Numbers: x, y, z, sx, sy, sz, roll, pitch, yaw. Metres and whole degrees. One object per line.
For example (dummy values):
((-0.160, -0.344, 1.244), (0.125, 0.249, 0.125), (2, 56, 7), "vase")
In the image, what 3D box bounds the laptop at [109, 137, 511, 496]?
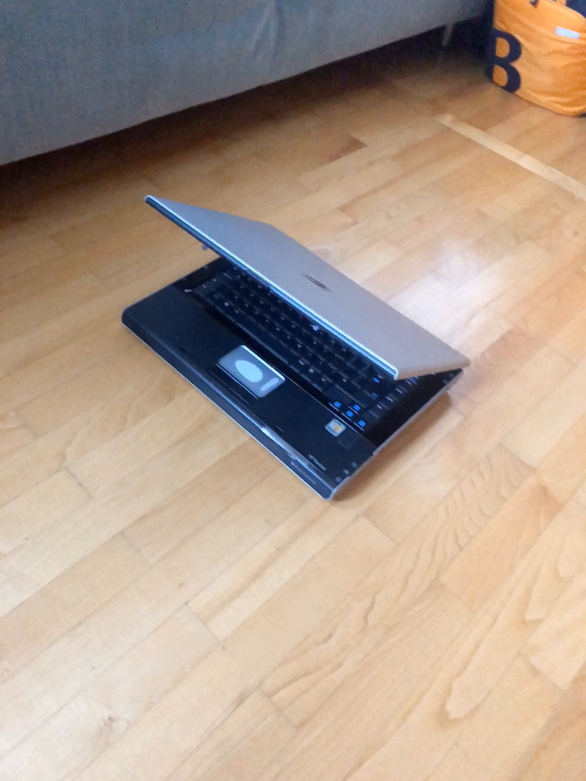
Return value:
((0.010, -0.111, 0.770), (0.362, 0.147, 0.269), (39, 56, 22), "laptop")
